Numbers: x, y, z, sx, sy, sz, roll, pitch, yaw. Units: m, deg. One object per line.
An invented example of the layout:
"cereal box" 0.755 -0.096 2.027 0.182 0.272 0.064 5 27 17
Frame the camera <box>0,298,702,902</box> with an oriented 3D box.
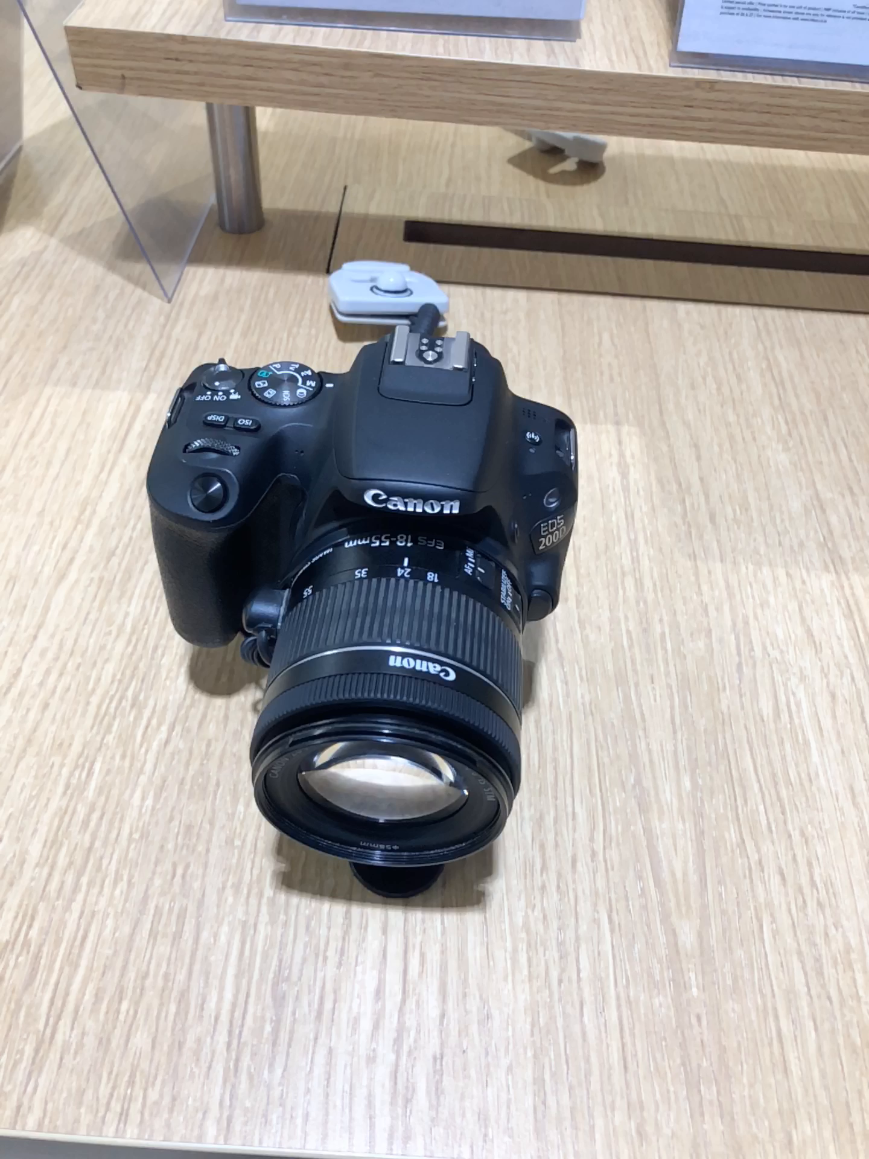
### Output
"camera" -0.016 0.002 0.238 0.130 0.079 0.116 4 48 0
